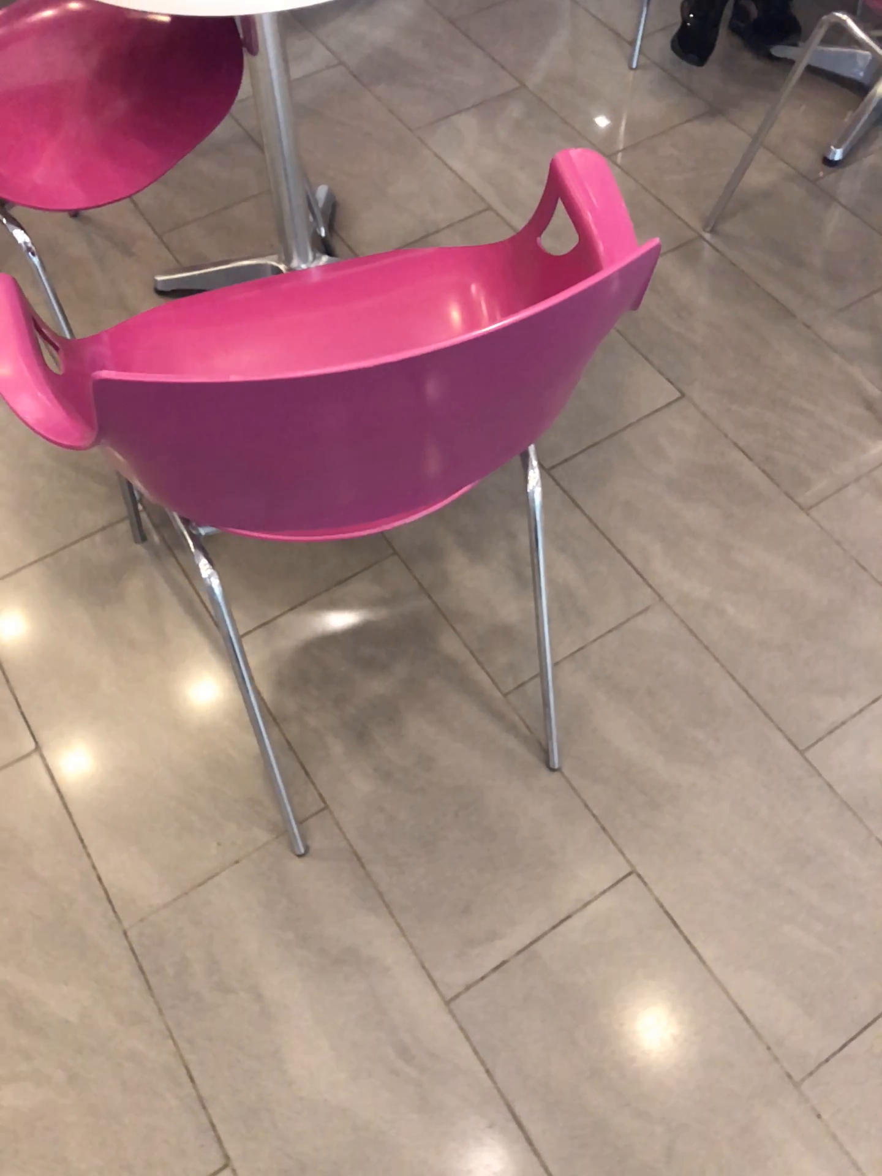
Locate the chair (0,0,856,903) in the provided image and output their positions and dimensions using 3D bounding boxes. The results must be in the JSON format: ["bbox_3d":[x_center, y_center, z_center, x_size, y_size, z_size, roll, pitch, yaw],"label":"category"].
[{"bbox_3d":[-0.116,-0.156,1.109,0.620,0.838,0.671,-16,61,-7],"label":"chair"}]
